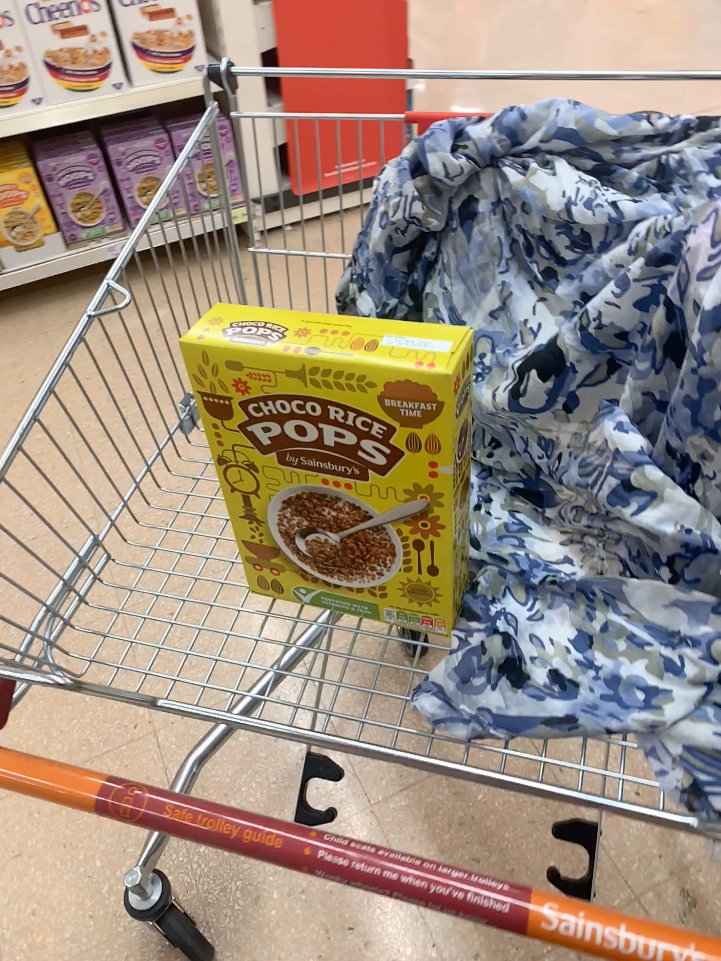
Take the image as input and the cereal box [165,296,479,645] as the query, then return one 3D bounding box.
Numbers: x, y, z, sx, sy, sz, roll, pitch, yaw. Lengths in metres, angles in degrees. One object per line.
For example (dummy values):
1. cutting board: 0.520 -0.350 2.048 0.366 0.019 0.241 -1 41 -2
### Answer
1. cereal box: -0.020 0.002 0.576 0.200 0.267 0.061 10 43 15
